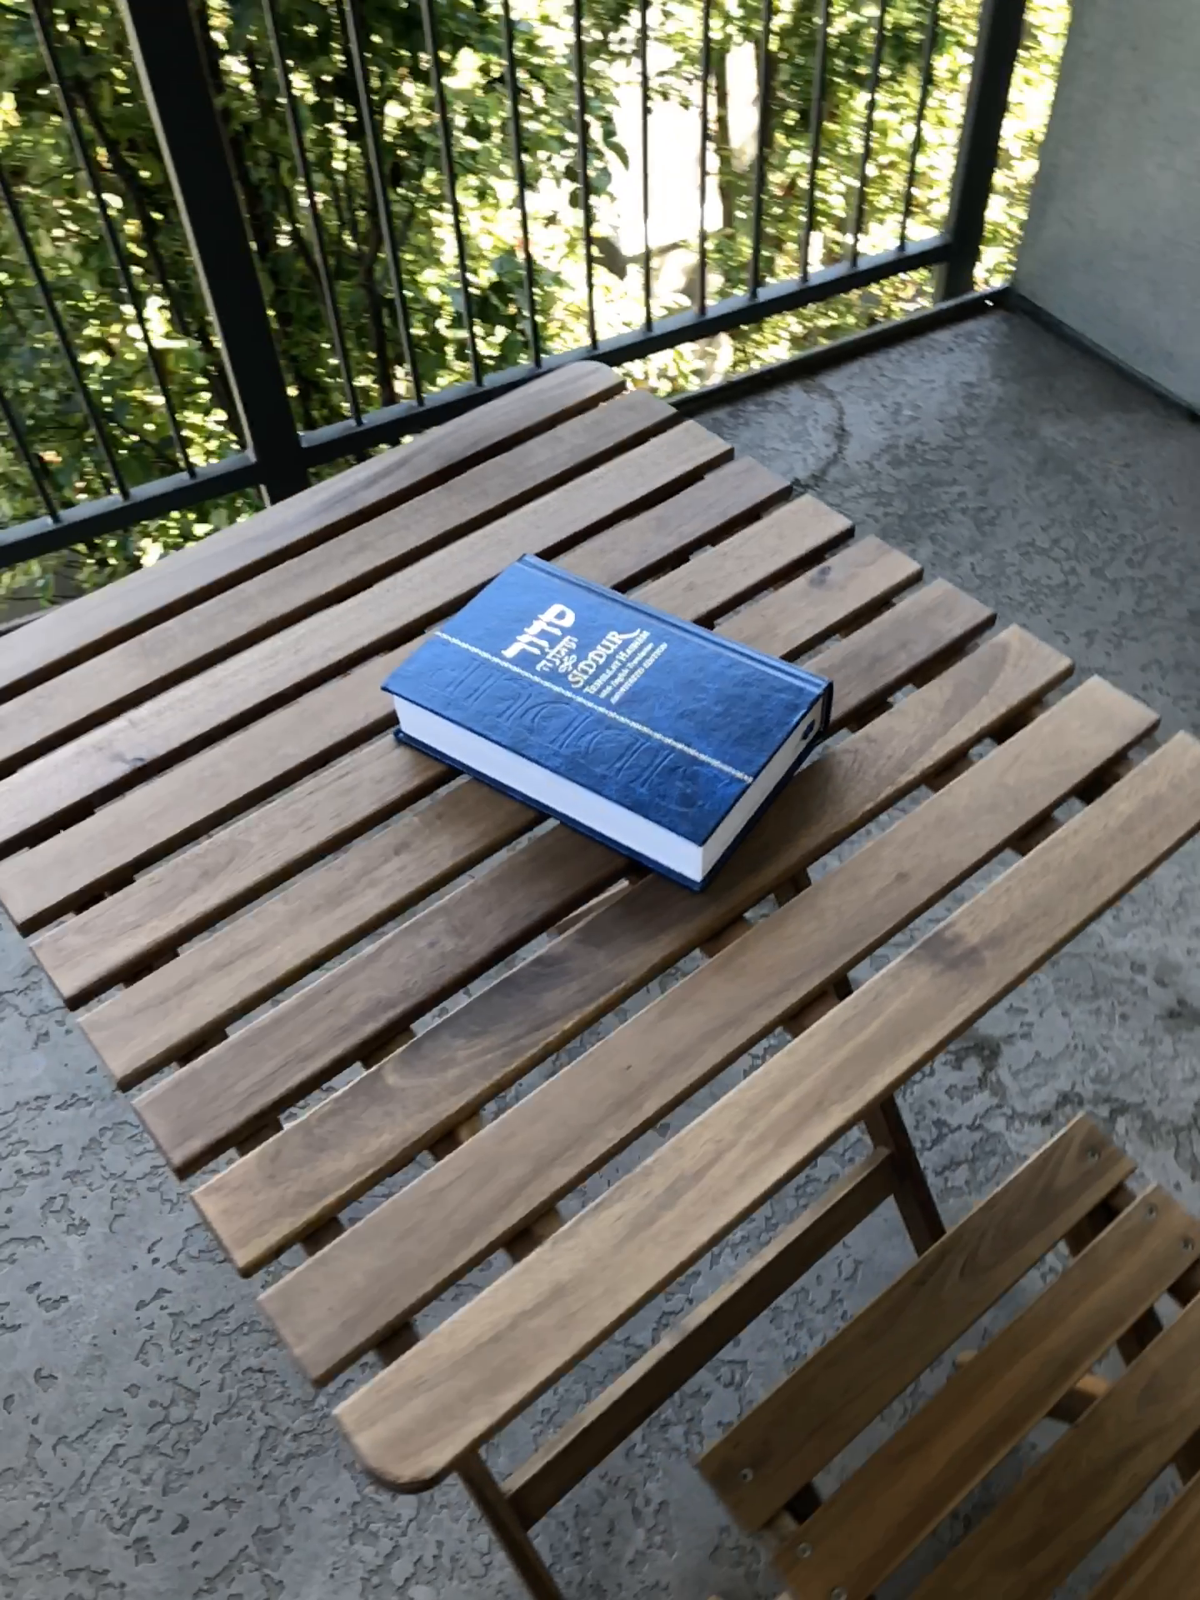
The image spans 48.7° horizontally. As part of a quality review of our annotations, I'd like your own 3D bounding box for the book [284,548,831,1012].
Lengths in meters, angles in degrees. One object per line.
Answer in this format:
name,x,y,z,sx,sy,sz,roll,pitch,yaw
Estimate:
book,-0.021,-0.024,0.761,0.230,0.070,0.200,26,56,23
